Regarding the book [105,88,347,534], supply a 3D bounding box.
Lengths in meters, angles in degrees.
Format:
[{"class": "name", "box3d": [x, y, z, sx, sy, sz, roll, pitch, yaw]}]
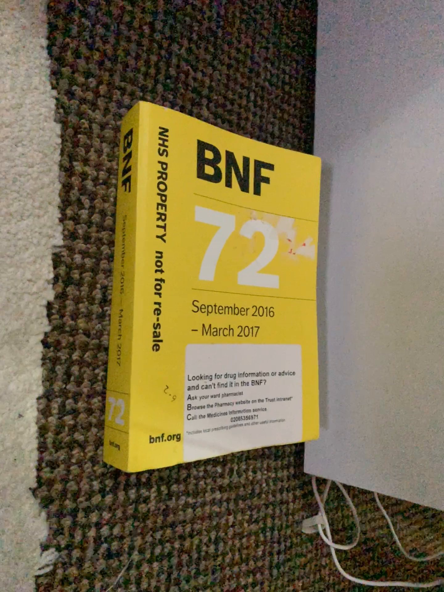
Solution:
[{"class": "book", "box3d": [0.012, 0.009, 0.298, 0.161, 0.050, 0.220, 5, 83, -42]}]
